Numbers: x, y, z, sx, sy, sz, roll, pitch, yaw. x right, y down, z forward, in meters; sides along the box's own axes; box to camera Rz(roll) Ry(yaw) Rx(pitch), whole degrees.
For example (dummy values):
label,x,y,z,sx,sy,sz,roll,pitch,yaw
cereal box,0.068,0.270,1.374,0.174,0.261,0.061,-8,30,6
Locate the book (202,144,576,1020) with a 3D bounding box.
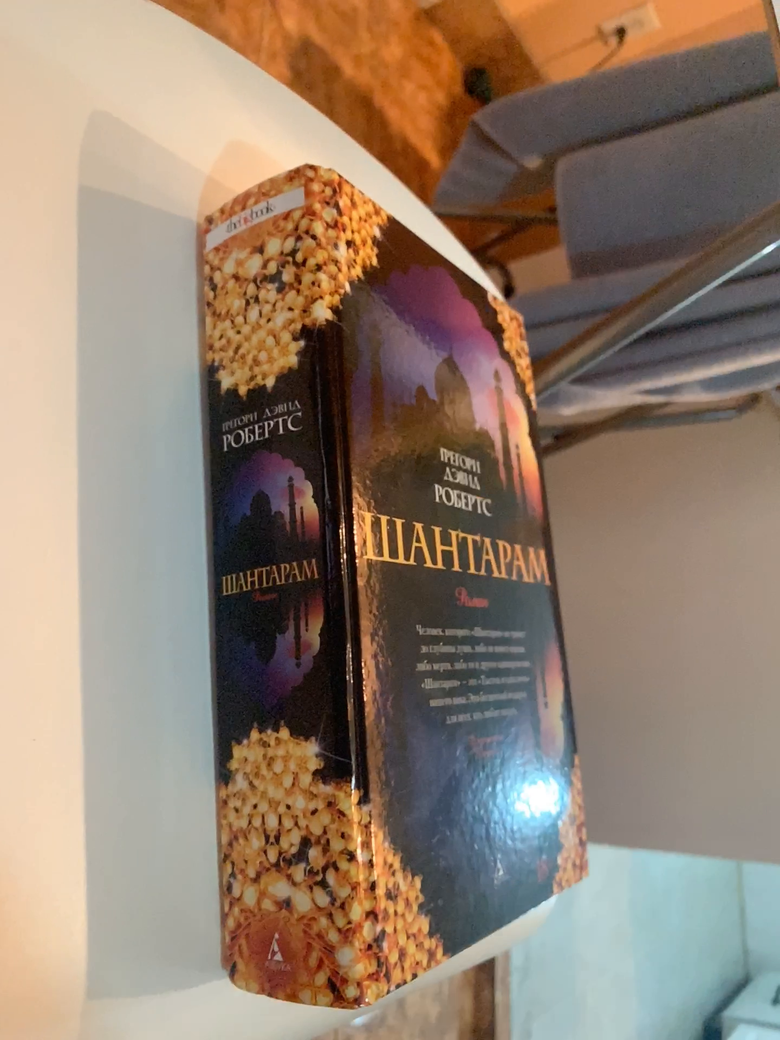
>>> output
label,x,y,z,sx,sy,sz,roll,pitch,yaw
book,0.005,0.017,0.289,0.146,0.044,0.236,12,72,-53
